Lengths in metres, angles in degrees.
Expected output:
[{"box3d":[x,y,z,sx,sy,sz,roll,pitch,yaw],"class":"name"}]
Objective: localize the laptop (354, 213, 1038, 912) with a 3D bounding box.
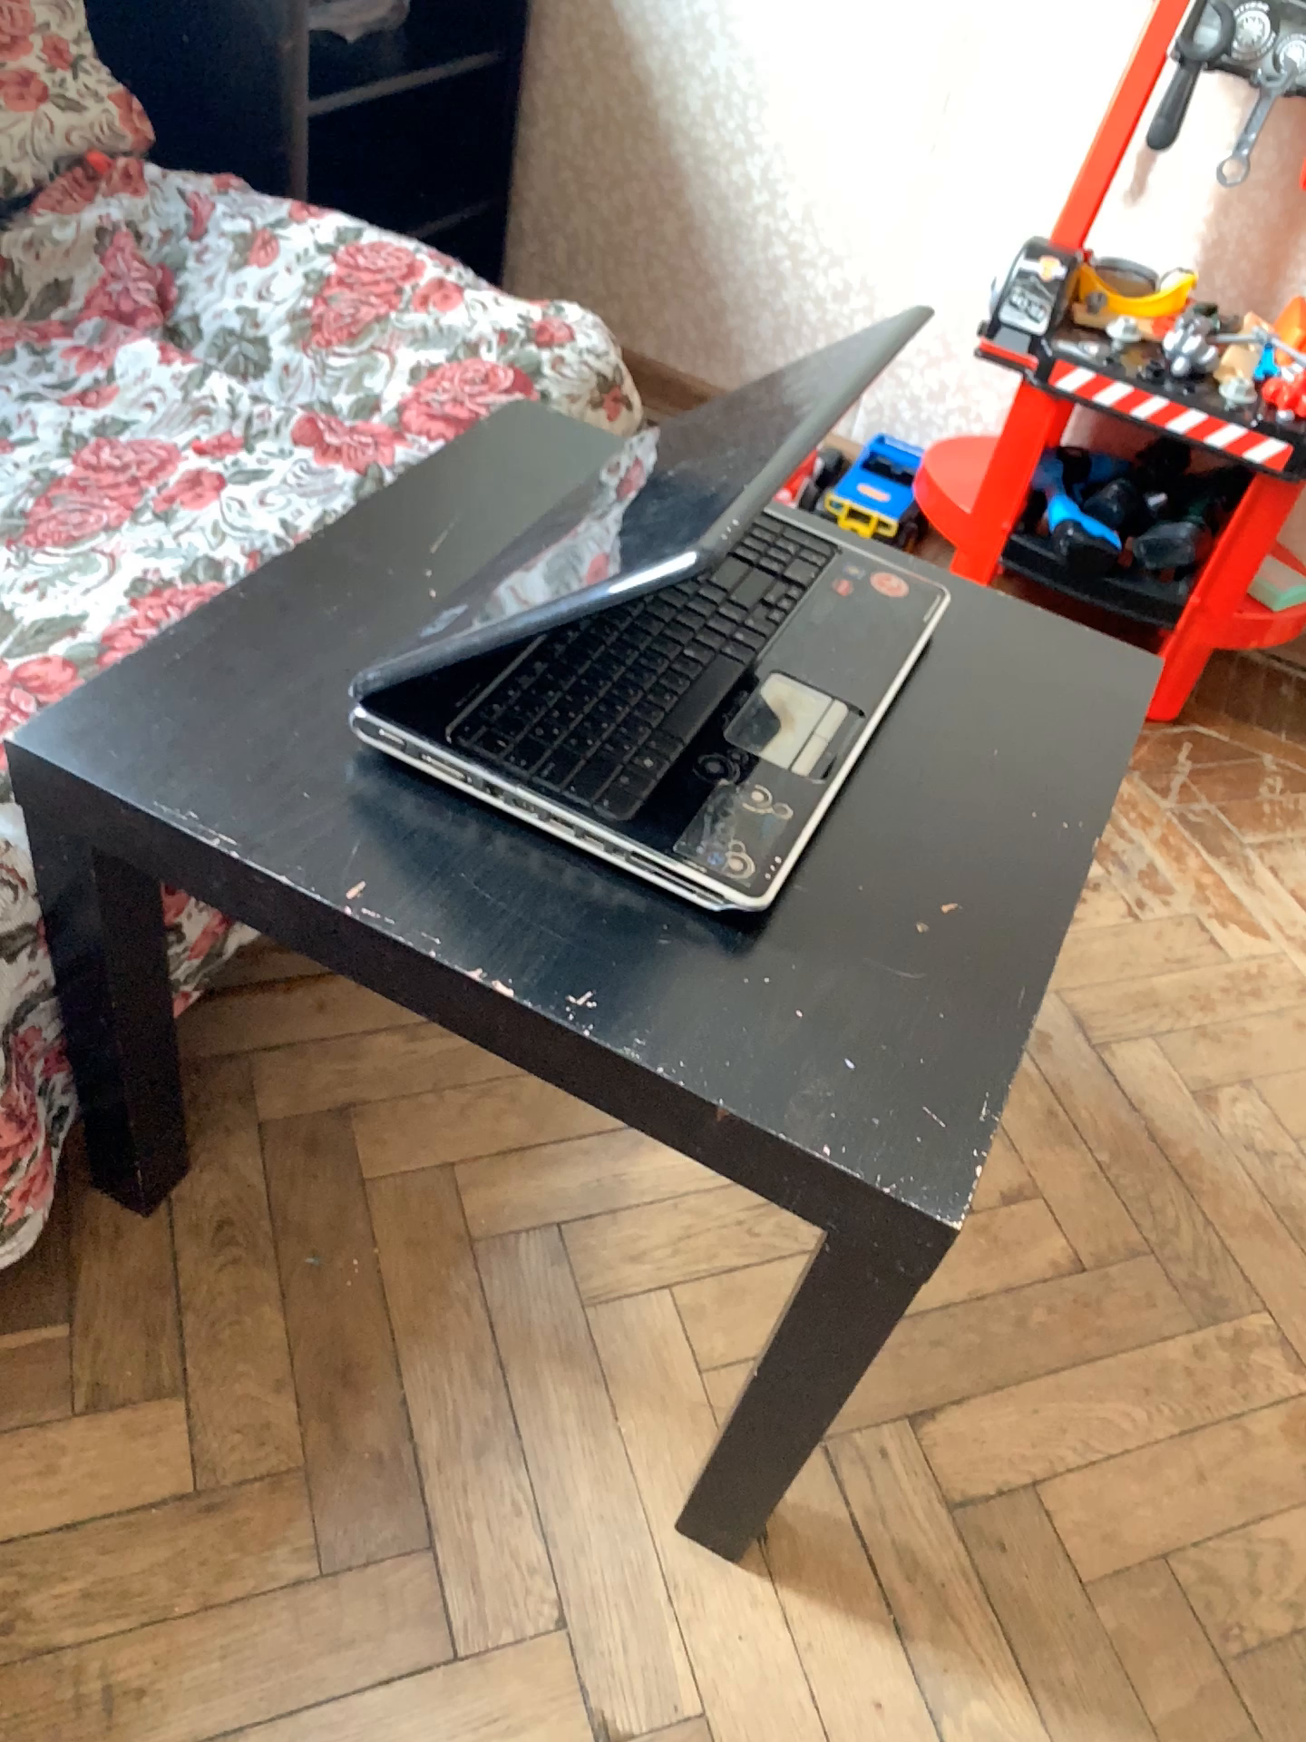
[{"box3d":[0.037,-0.204,0.783,0.251,0.177,0.367,25,45,10],"class":"laptop"}]
